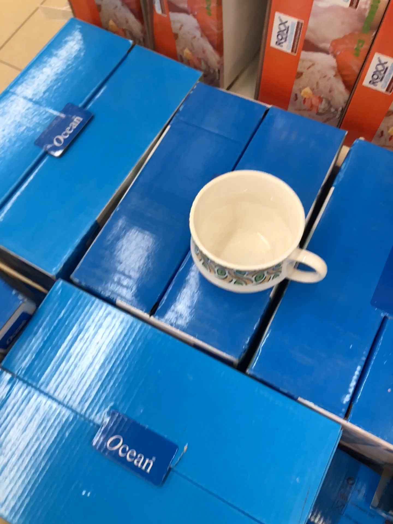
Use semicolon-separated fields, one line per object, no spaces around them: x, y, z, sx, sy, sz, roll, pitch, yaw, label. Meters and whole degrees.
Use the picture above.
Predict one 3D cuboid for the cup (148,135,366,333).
0.035;-0.016;0.270;0.100;0.060;0.070;25;71;11;cup
